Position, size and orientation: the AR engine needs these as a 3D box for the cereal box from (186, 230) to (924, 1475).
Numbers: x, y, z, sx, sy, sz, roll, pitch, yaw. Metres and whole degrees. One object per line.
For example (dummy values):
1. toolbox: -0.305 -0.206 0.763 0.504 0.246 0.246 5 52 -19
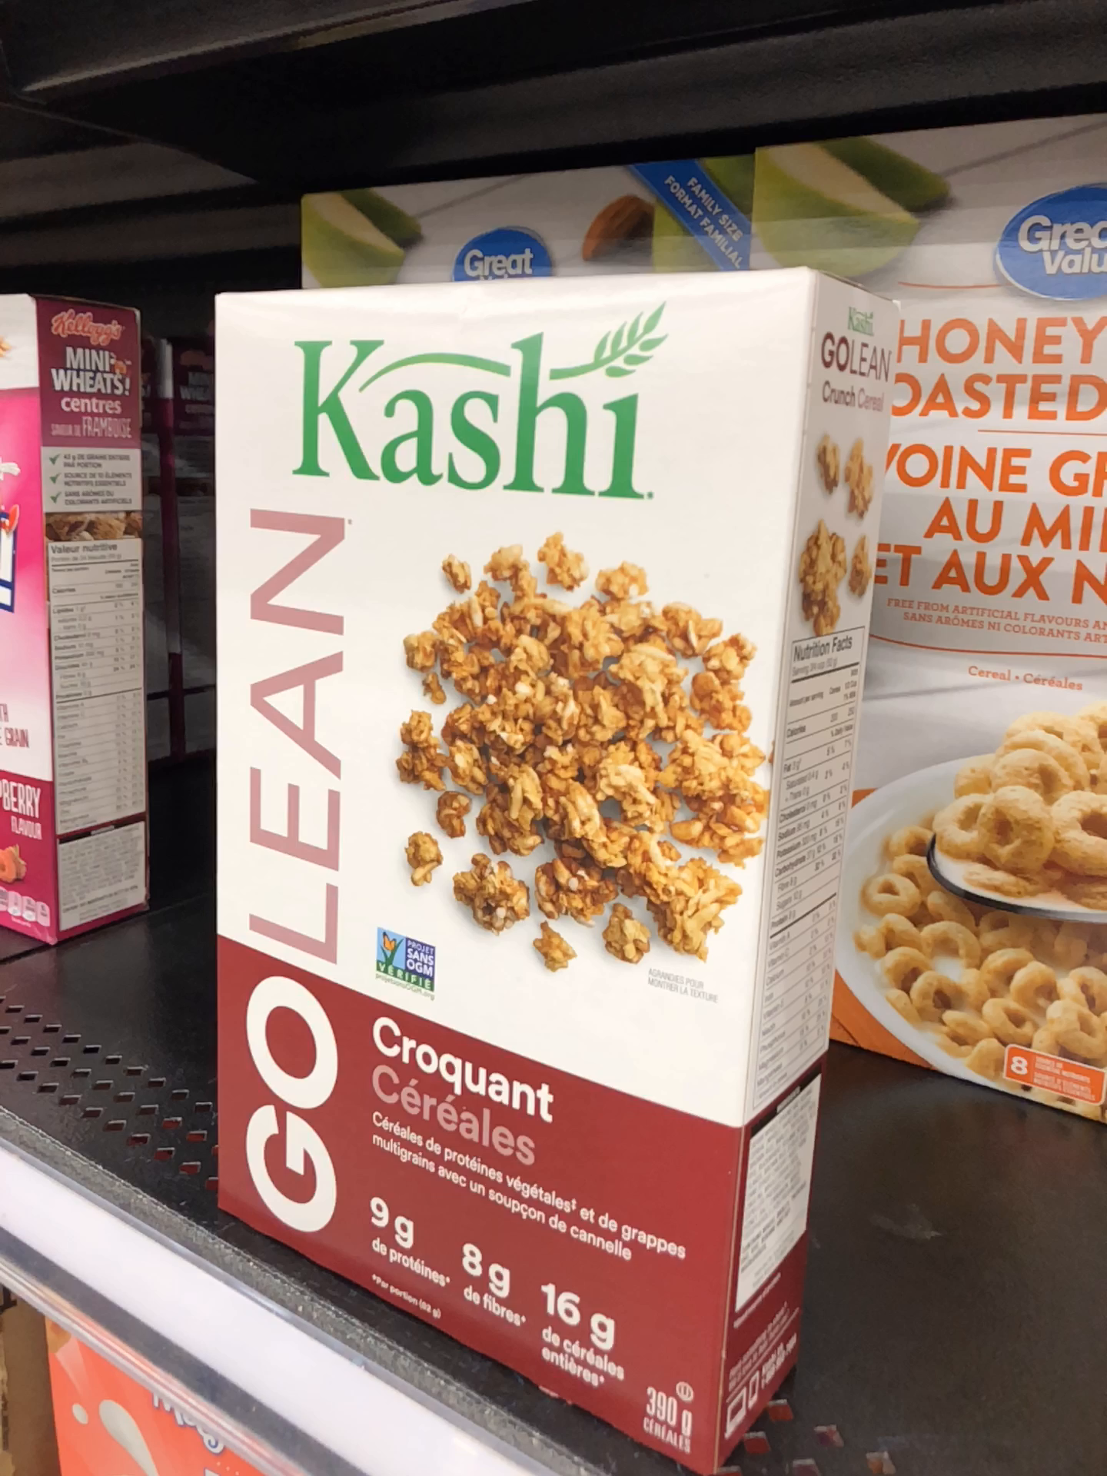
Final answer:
1. cereal box: -0.011 0.019 0.309 0.170 0.259 0.050 11 16 33
